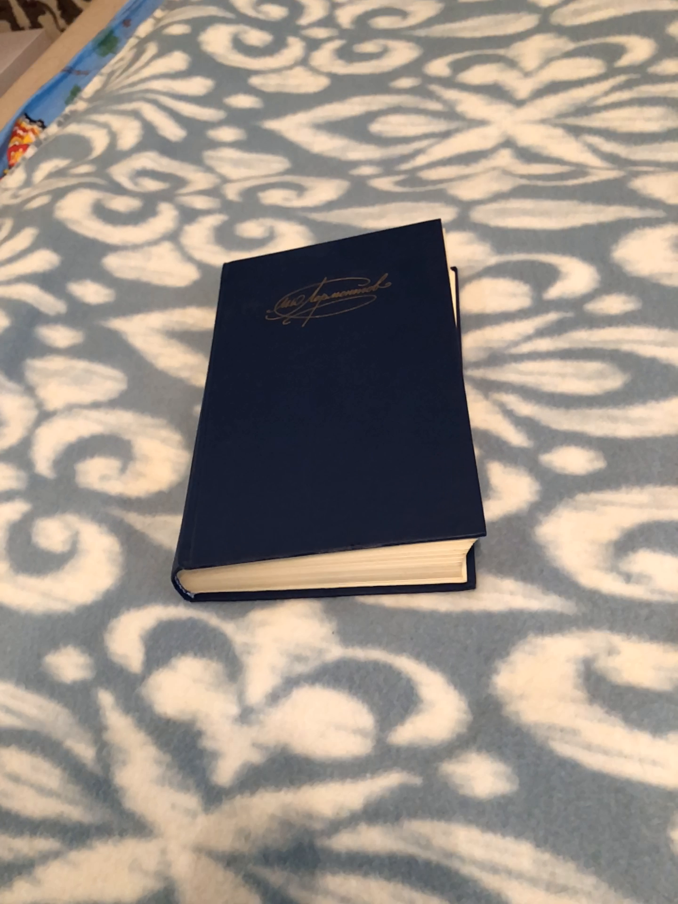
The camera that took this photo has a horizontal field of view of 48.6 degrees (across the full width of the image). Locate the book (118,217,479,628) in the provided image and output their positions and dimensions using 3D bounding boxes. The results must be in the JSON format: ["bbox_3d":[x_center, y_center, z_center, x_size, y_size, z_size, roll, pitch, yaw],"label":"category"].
[{"bbox_3d":[-0.014,-0.023,0.362,0.138,0.040,0.201,-8,51,11],"label":"book"}]
